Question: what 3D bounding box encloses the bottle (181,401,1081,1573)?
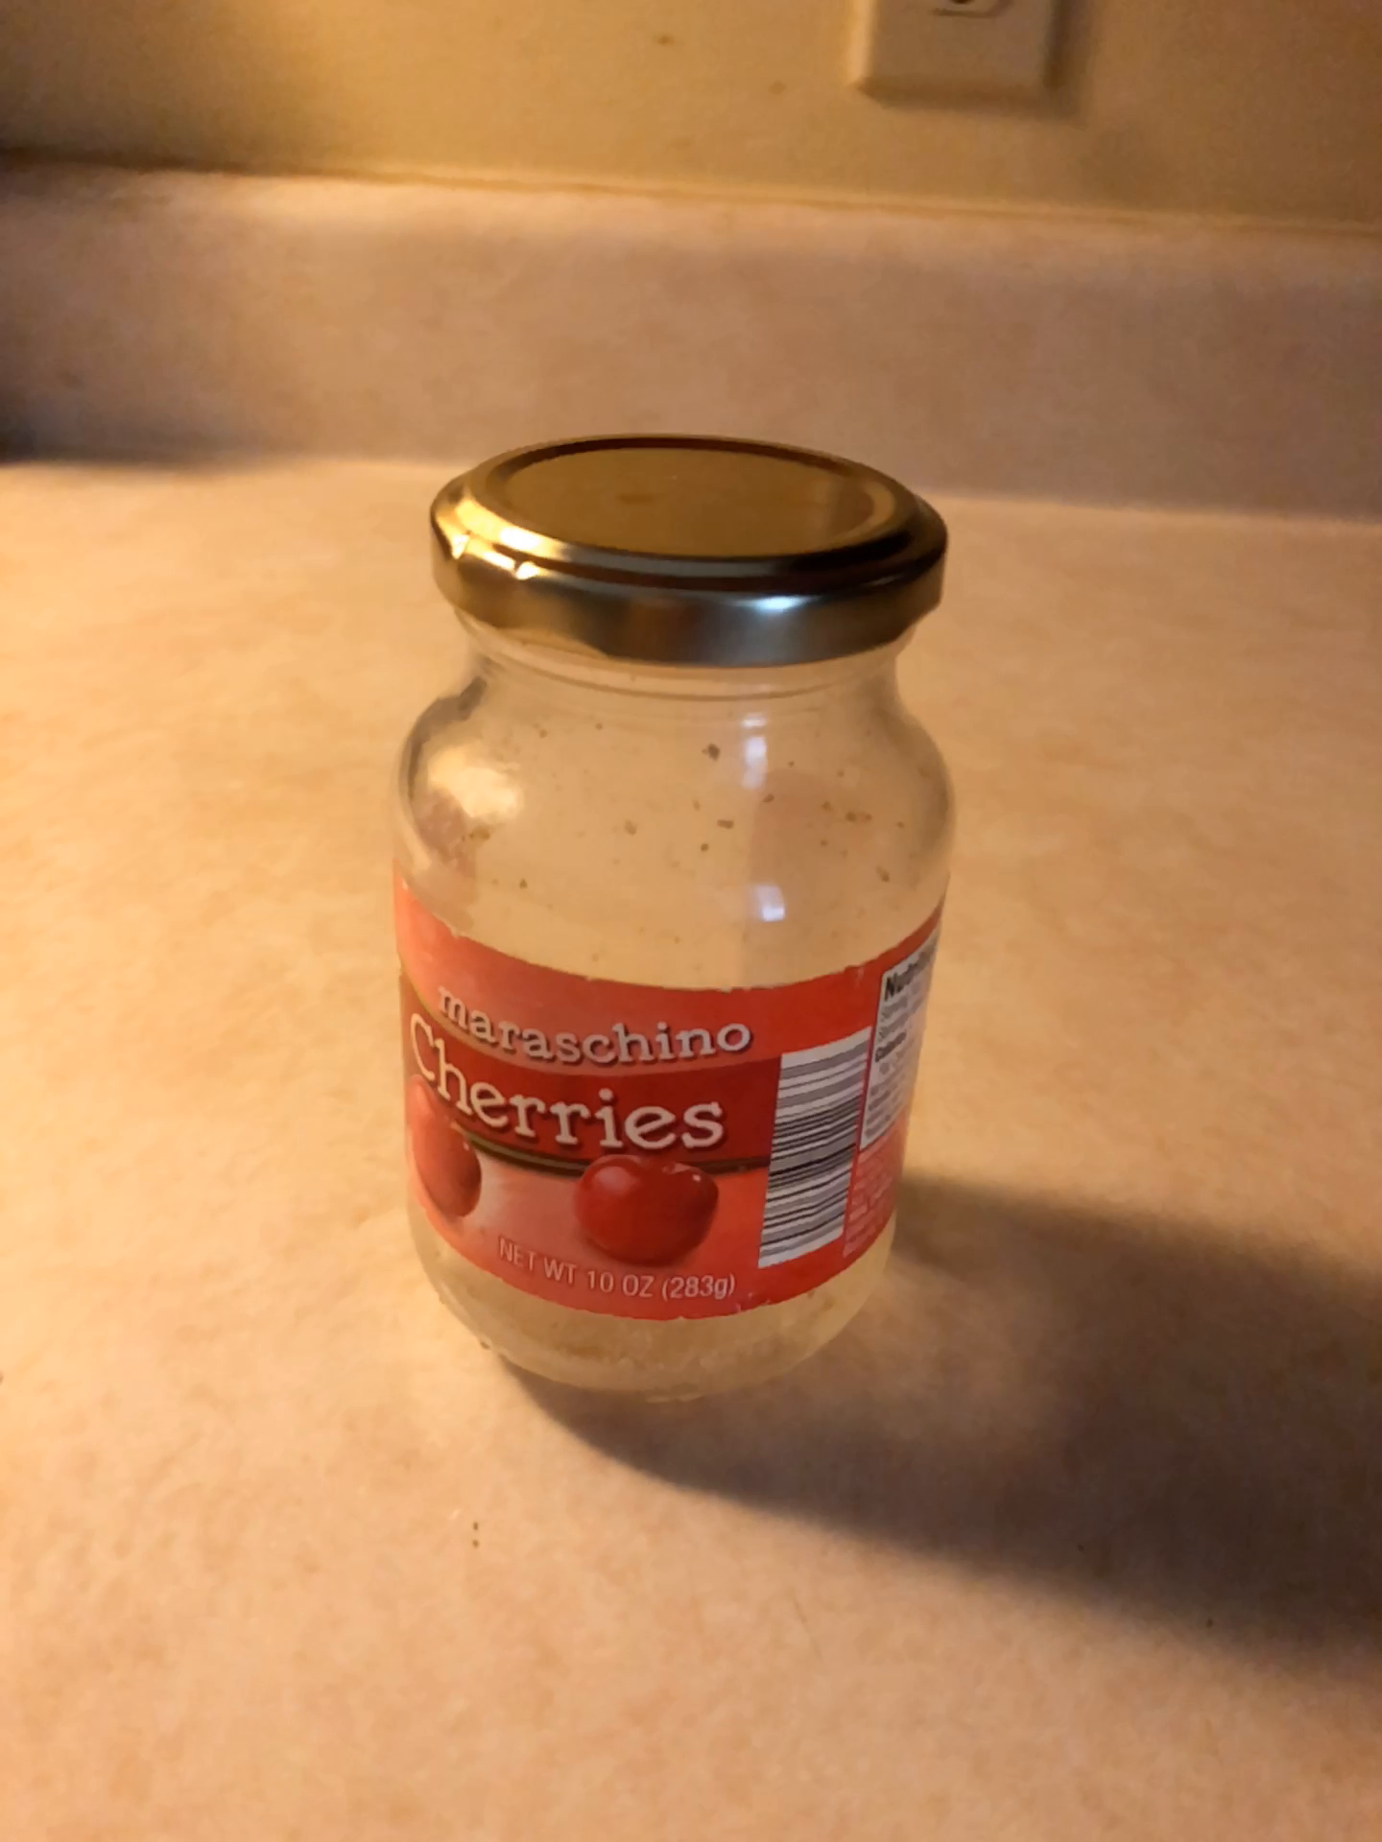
[{"bbox_3d":[-0.005,0.003,0.192,0.070,0.110,0.070,2,30,-1],"label":"bottle"}]
